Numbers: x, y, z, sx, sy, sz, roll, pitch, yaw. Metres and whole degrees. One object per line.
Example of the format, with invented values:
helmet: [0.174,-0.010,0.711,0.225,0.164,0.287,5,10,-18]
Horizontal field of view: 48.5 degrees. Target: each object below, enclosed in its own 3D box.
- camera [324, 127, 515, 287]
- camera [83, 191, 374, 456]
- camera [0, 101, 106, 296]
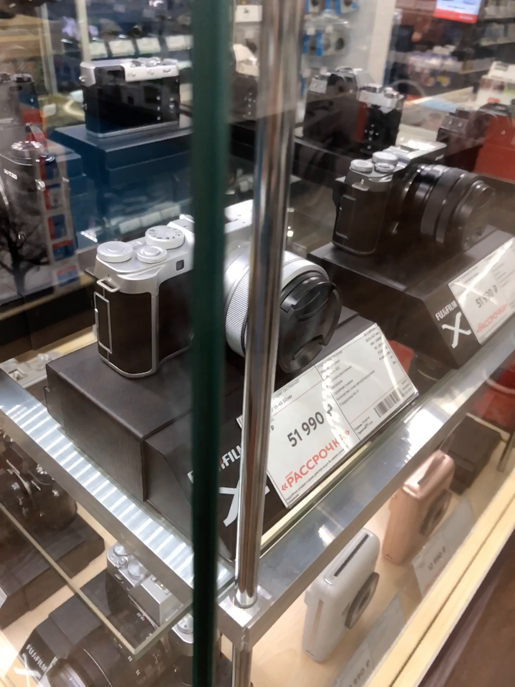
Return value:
camera: [0.132,-0.117,0.465,0.096,0.080,0.115,29,41,32]
camera: [-0.013,-0.020,0.314,0.084,0.080,0.126,30,41,33]
camera: [-0.180,-0.104,0.384,0.115,0.080,0.097,28,40,31]
